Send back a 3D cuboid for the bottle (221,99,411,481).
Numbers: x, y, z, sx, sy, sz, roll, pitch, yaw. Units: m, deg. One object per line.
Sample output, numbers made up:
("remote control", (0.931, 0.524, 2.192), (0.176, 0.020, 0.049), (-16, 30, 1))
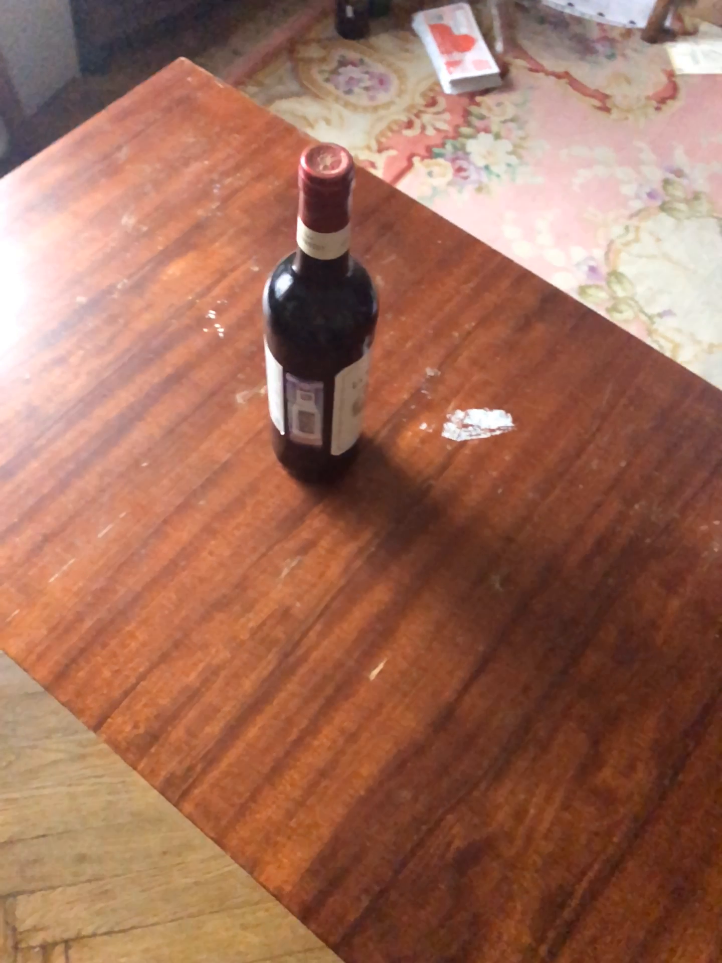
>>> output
("bottle", (-0.028, -0.100, 0.518), (0.090, 0.269, 0.090), (1, 65, -3))
